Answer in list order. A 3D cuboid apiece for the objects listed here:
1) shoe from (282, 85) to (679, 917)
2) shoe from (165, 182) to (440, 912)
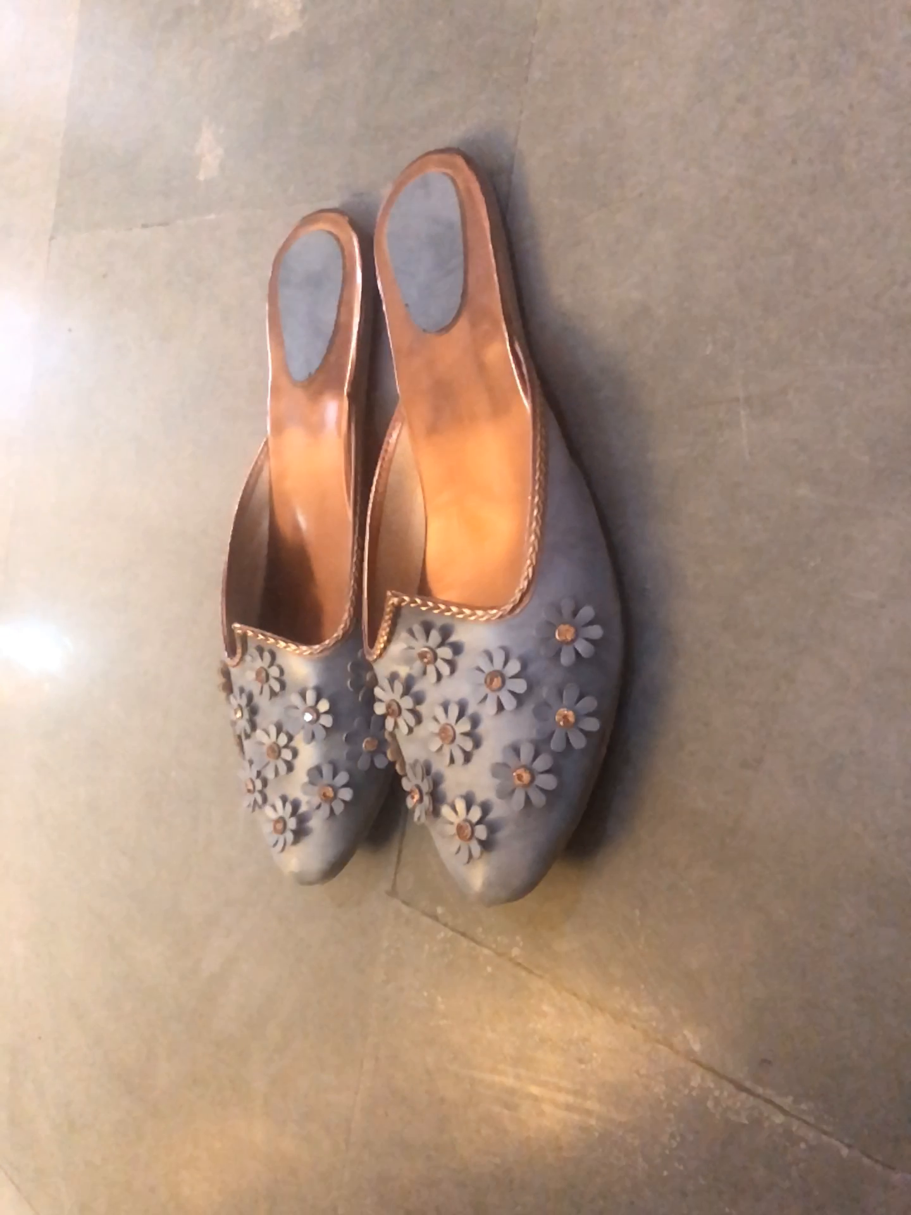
[{"bbox_3d":[0.001,-0.032,0.367,0.101,0.050,0.270,-17,76,41],"label":"shoe"},{"bbox_3d":[-0.068,-0.020,0.420,0.101,0.050,0.270,-9,81,42],"label":"shoe"}]
